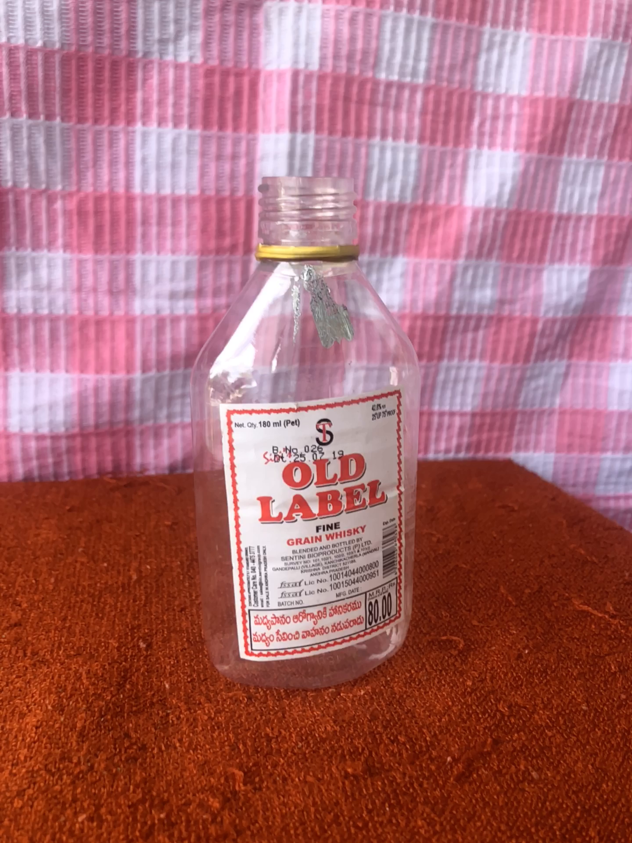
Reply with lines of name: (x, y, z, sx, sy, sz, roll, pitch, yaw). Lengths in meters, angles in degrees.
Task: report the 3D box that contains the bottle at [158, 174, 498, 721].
bottle: (-0.003, 0.004, 0.190, 0.070, 0.129, 0.050, -3, 20, -14)
